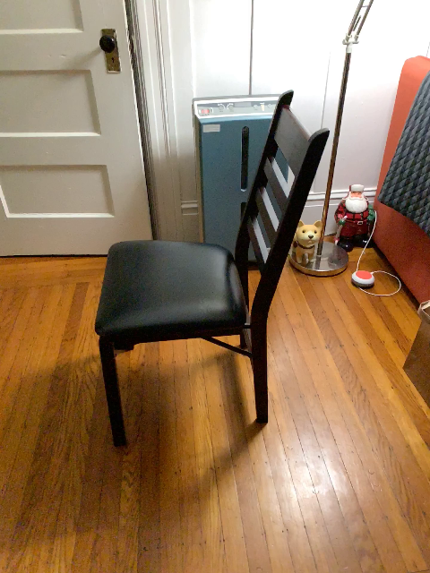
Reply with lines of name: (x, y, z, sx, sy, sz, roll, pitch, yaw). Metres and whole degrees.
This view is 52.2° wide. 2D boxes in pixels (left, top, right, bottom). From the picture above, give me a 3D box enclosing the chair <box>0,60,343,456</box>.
chair: (-0.088, -0.062, 1.152, 0.550, 0.865, 0.493, -5, 36, -6)
